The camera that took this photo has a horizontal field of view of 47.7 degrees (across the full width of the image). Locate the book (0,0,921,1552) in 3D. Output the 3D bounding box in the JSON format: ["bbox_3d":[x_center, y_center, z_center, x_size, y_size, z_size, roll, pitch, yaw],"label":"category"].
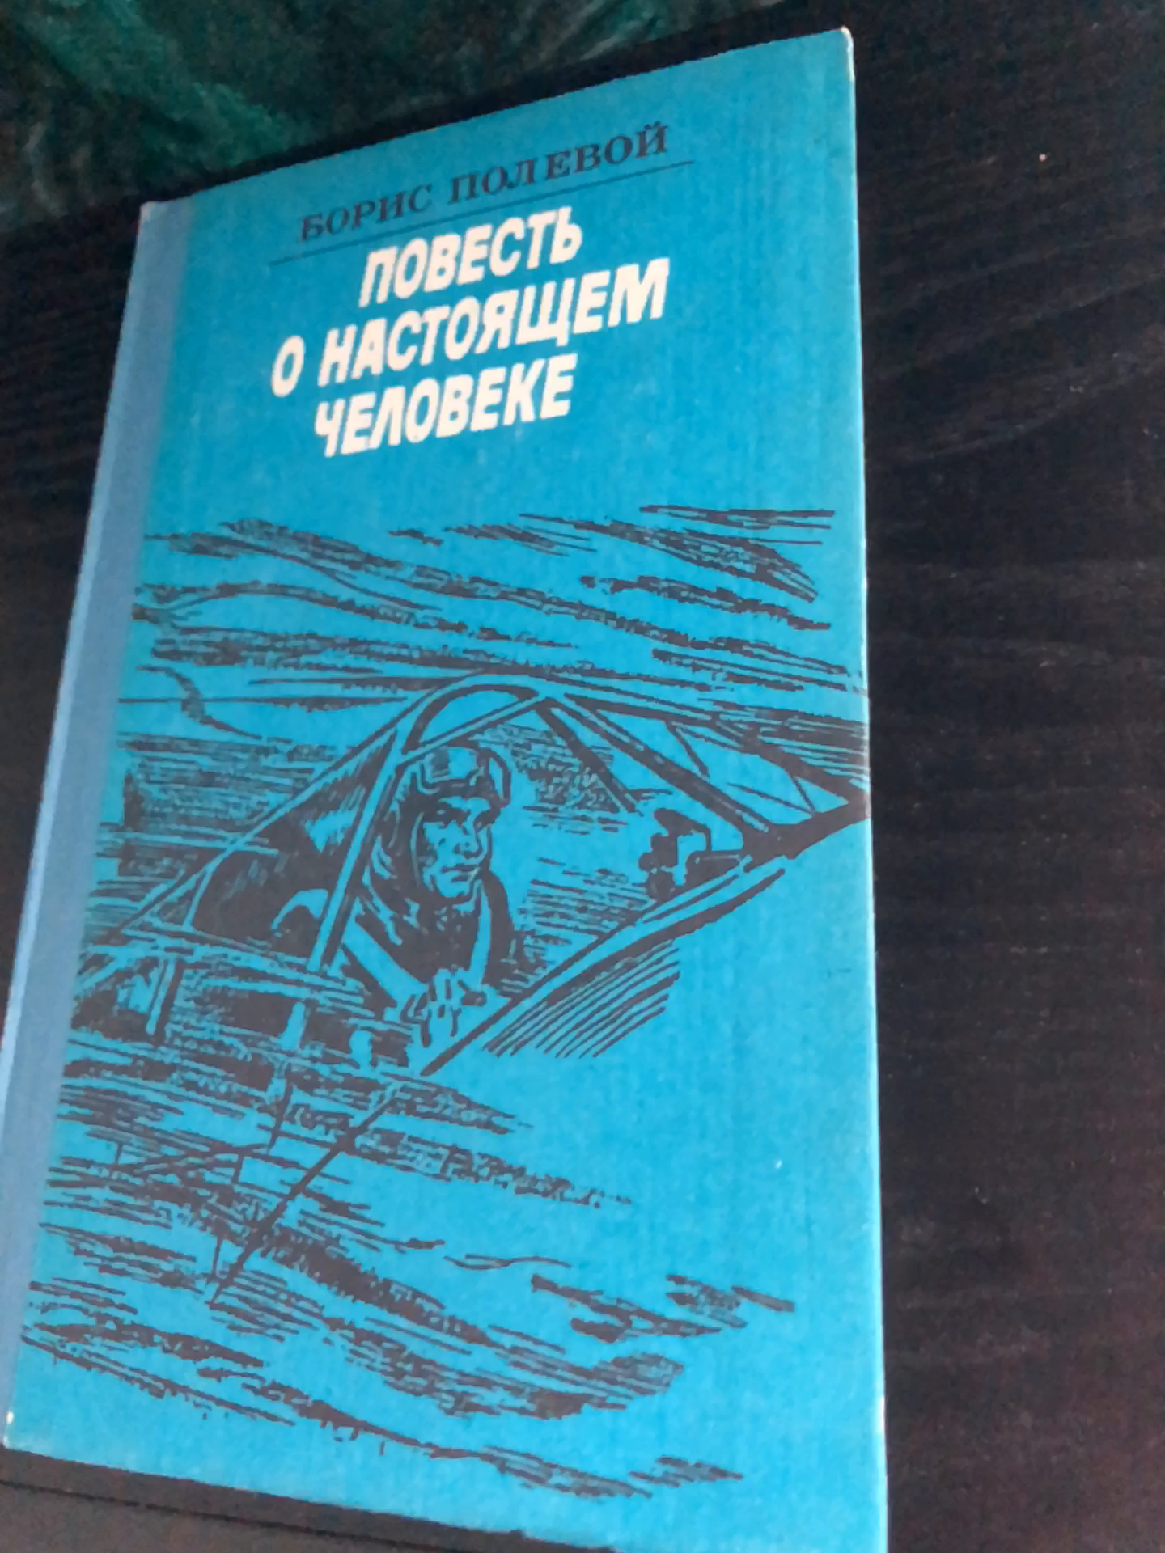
[{"bbox_3d":[-0.021,-0.010,0.179,0.123,0.019,0.191,-4,71,21],"label":"book"}]
